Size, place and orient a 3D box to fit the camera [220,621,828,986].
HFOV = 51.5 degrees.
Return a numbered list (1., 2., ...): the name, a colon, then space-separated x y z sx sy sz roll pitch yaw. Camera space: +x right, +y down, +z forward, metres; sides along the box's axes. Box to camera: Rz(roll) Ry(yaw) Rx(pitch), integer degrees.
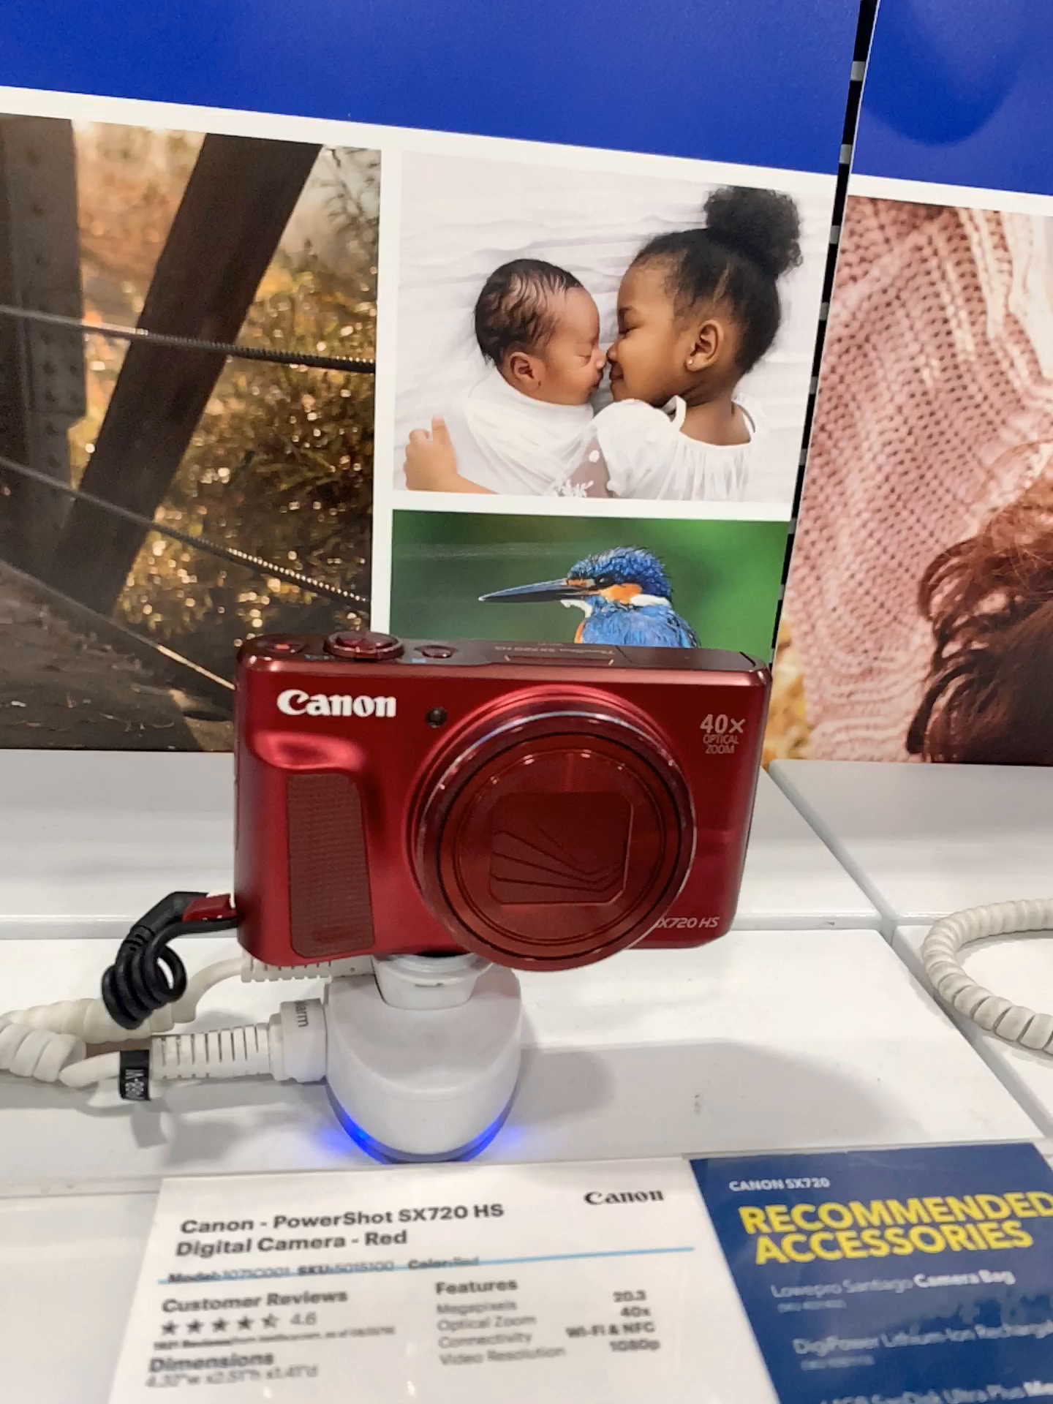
1. camera: -0.003 0.020 0.220 0.110 0.060 0.037 2 17 -11
